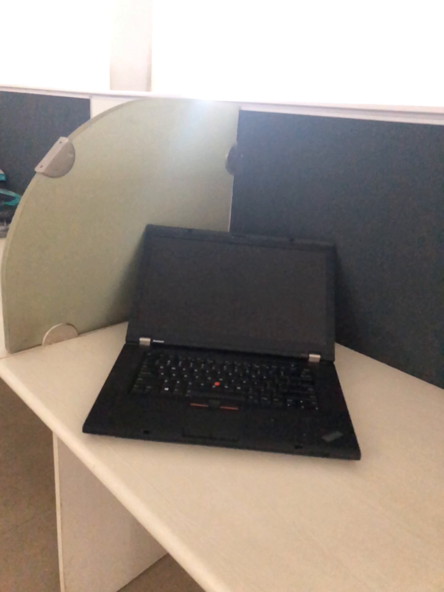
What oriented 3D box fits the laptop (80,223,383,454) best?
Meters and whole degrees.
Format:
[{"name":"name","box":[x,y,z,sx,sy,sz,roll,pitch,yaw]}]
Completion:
[{"name":"laptop","box":[0.017,0.029,0.780,0.355,0.168,0.406,5,23,2]}]
